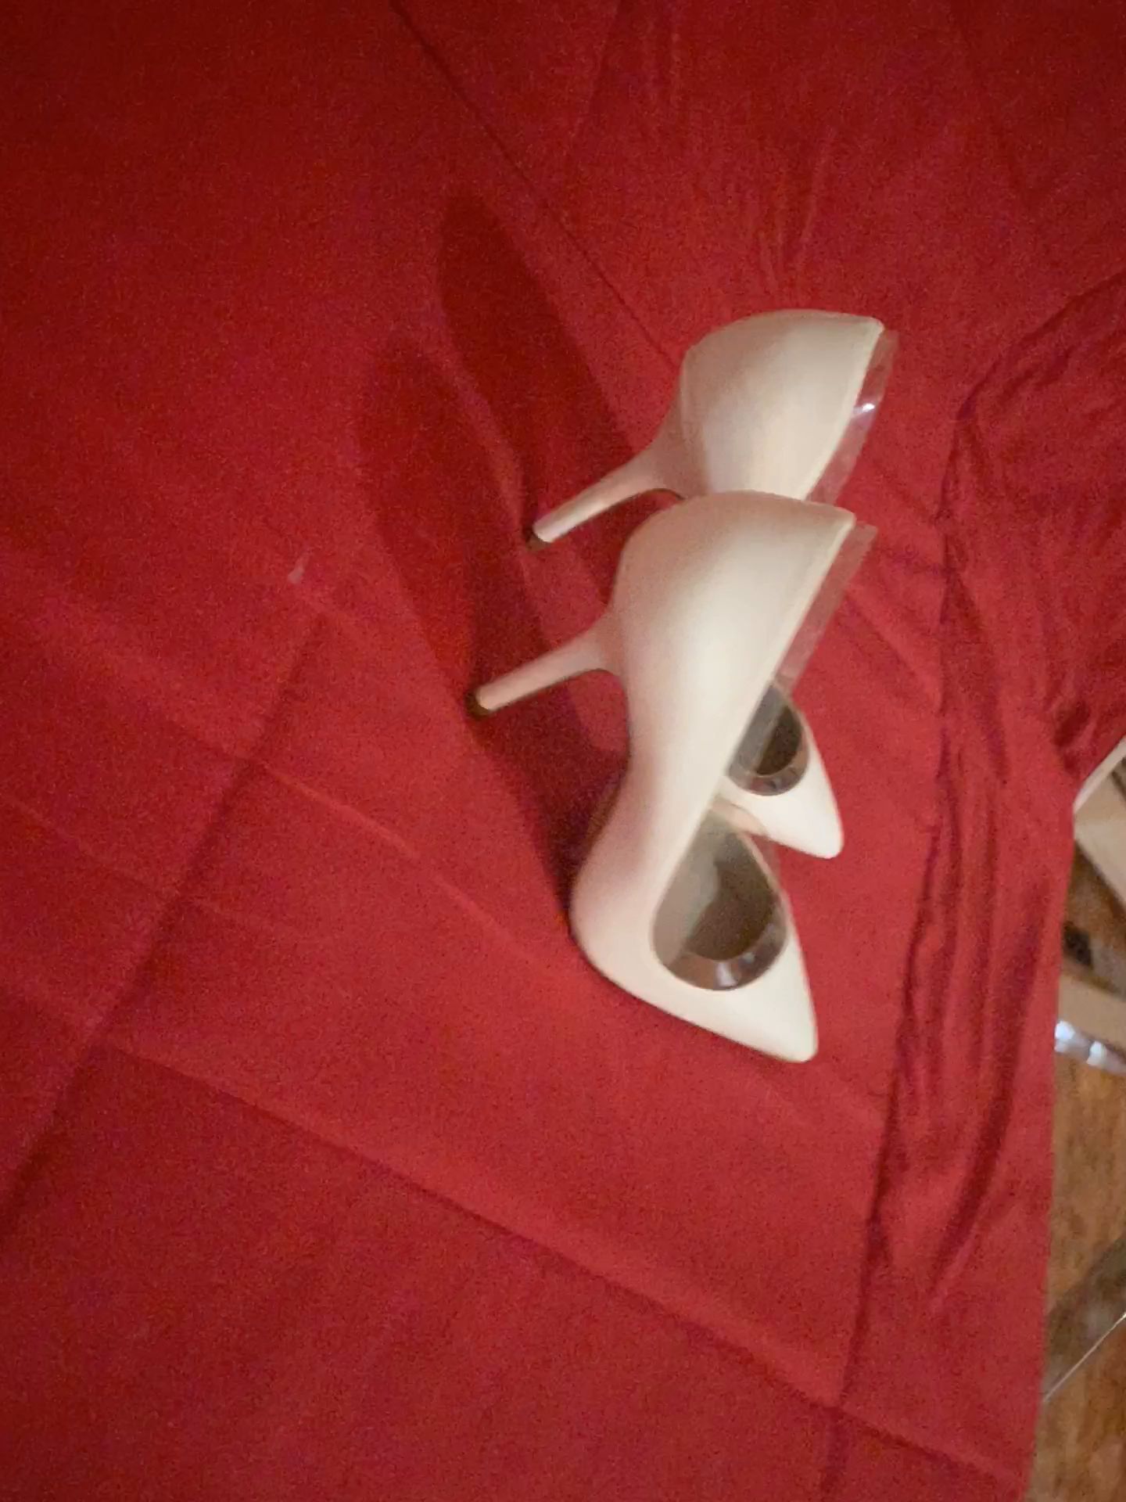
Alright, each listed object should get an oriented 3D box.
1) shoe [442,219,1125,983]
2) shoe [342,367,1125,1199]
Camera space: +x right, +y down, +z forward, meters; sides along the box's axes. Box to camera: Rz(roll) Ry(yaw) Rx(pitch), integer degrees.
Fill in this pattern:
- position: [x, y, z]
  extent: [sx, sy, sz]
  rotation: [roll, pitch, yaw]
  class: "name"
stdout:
- position: [0.097, -0.033, 0.422]
  extent: [0.241, 0.139, 0.098]
  rotation: [53, 46, -25]
  class: "shoe"
- position: [0.072, 0.029, 0.375]
  extent: [0.244, 0.136, 0.098]
  rotation: [53, 46, -25]
  class: "shoe"
